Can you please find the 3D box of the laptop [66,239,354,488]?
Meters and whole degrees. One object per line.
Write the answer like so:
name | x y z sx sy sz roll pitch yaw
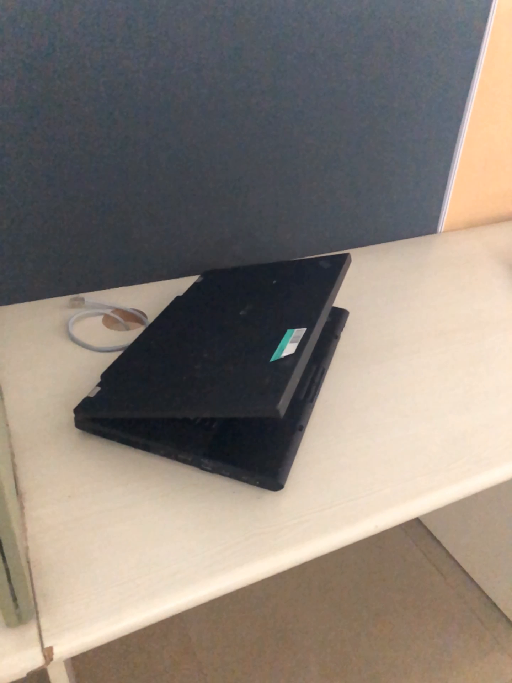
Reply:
laptop | -0.027 -0.005 0.710 0.234 0.077 0.365 13 34 13
